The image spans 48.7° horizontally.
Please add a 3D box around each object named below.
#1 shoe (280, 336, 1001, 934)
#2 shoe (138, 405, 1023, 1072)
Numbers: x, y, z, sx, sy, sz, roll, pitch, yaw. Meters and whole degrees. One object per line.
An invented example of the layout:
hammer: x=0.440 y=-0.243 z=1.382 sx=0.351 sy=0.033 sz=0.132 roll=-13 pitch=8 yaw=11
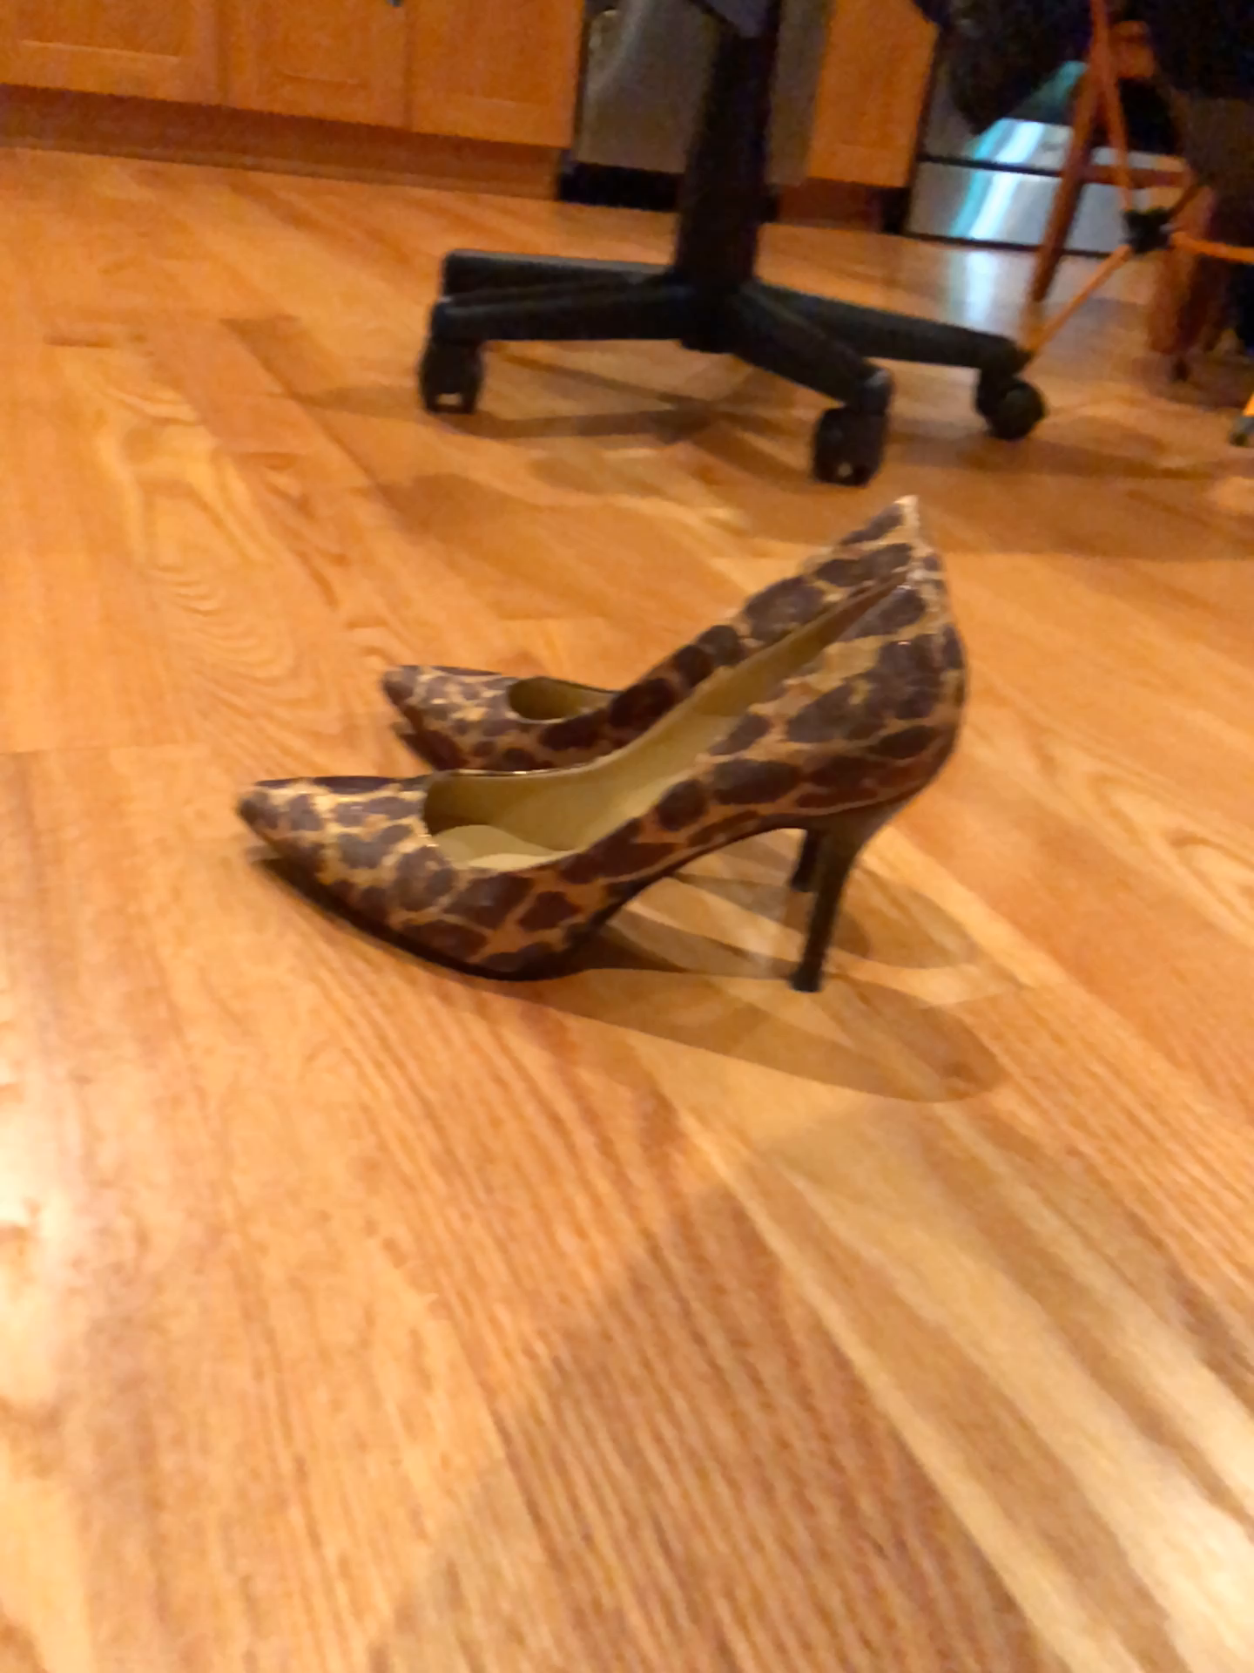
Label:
shoe: x=-0.007 y=-0.080 z=0.481 sx=0.227 sy=0.135 sz=0.076 roll=21 pitch=30 yaw=23
shoe: x=-0.017 y=-0.033 z=0.409 sx=0.227 sy=0.136 sz=0.077 roll=12 pitch=27 yaw=7
